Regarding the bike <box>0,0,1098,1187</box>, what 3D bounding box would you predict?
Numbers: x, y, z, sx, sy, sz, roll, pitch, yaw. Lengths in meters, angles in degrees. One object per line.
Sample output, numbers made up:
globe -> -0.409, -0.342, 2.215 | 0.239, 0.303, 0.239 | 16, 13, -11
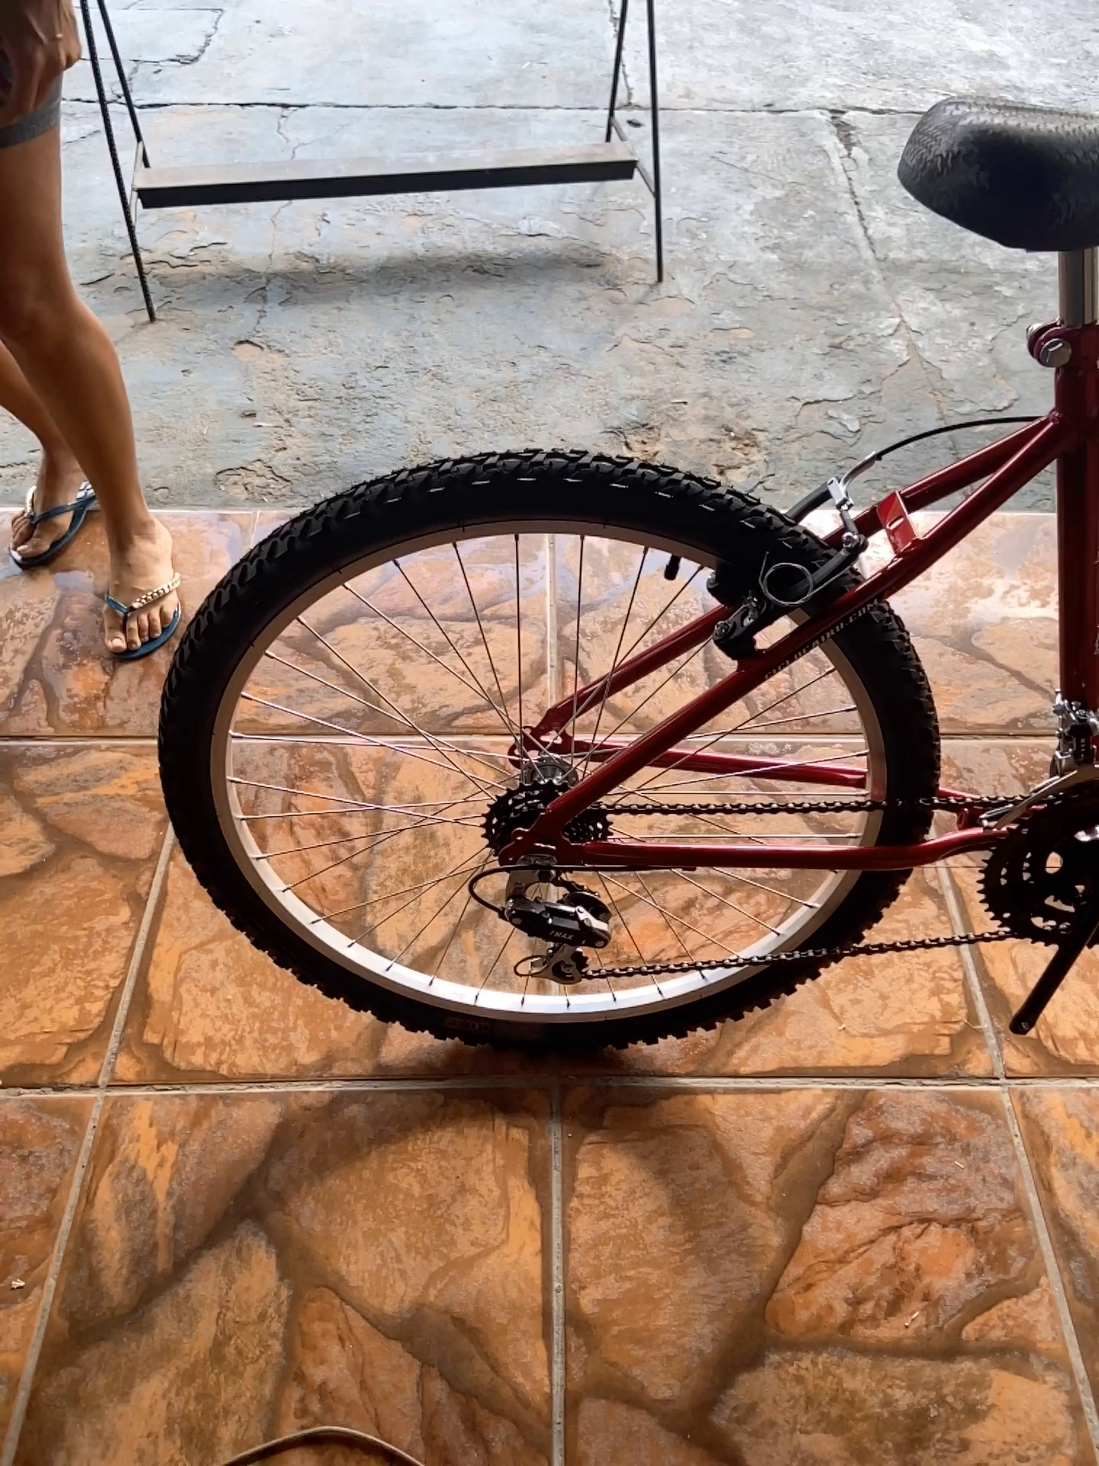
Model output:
bike -> 0.453, -0.178, 0.945 | 1.556, 0.986, 0.601 | -4, 51, -6
